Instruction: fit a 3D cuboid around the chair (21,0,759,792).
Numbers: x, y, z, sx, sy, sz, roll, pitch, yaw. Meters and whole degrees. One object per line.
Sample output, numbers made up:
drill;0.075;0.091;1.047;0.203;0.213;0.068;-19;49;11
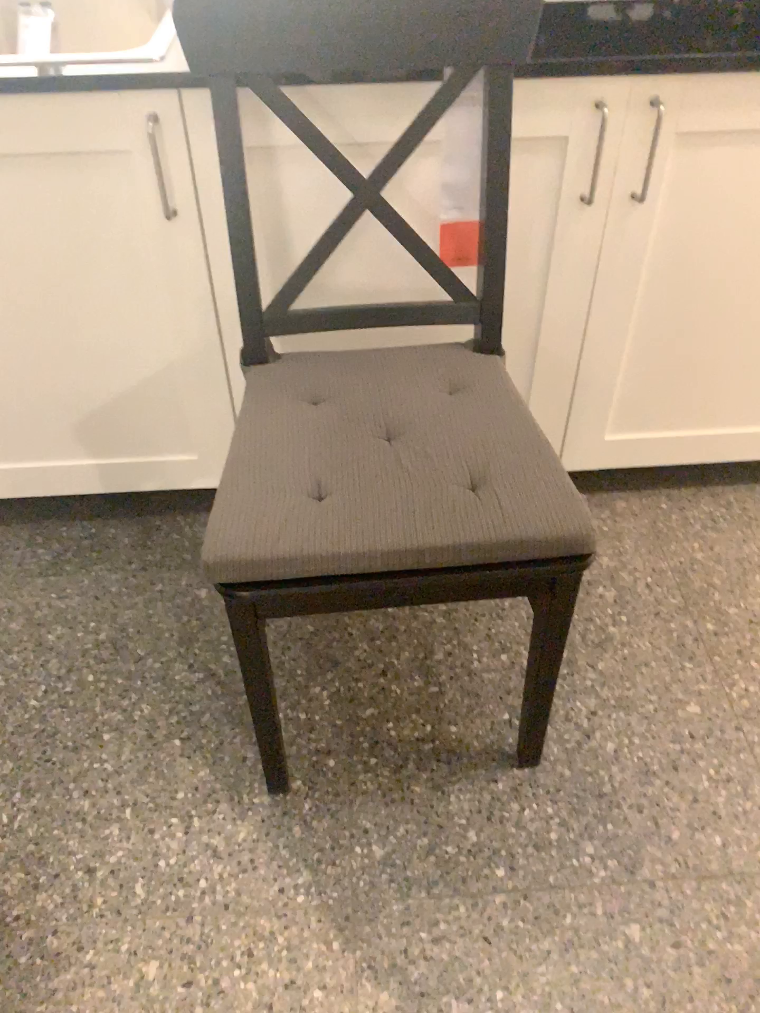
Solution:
chair;-0.004;-0.121;0.875;0.420;0.787;0.492;-5;43;-4
